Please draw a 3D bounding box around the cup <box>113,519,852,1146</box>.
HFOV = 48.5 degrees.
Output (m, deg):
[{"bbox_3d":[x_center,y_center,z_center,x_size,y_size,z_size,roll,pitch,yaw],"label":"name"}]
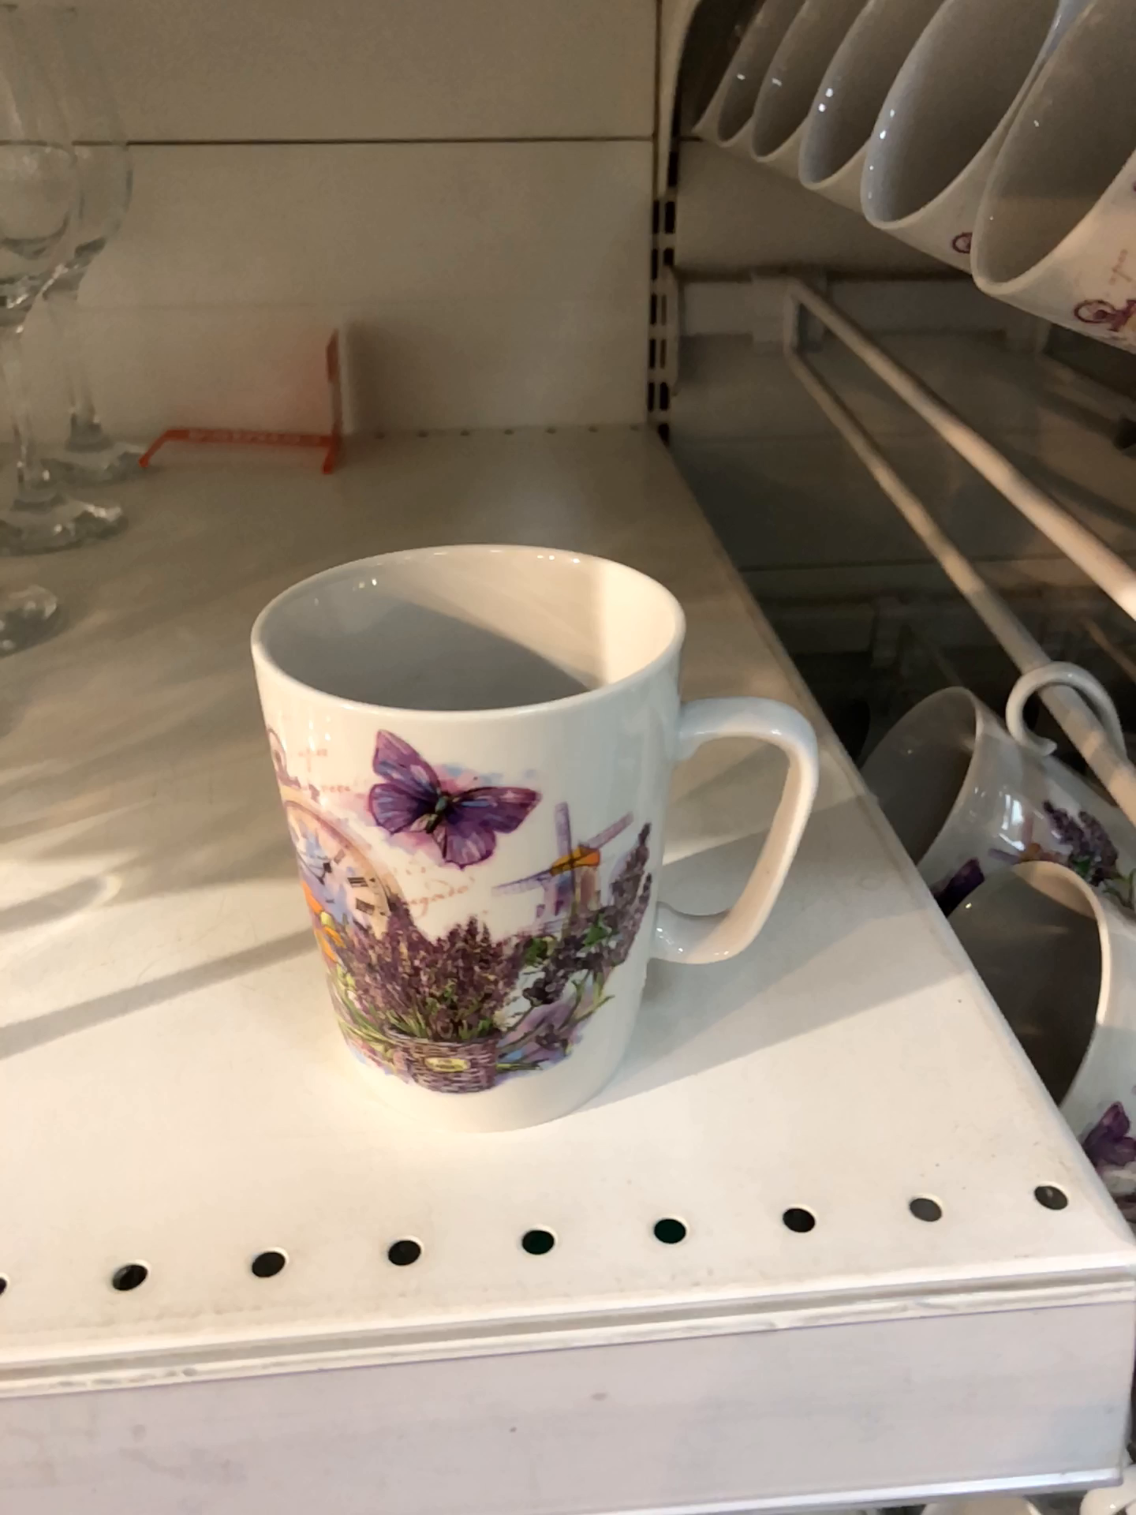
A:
[{"bbox_3d":[-0.011,0.012,0.260,0.119,0.094,0.082,2,31,5],"label":"cup"}]
